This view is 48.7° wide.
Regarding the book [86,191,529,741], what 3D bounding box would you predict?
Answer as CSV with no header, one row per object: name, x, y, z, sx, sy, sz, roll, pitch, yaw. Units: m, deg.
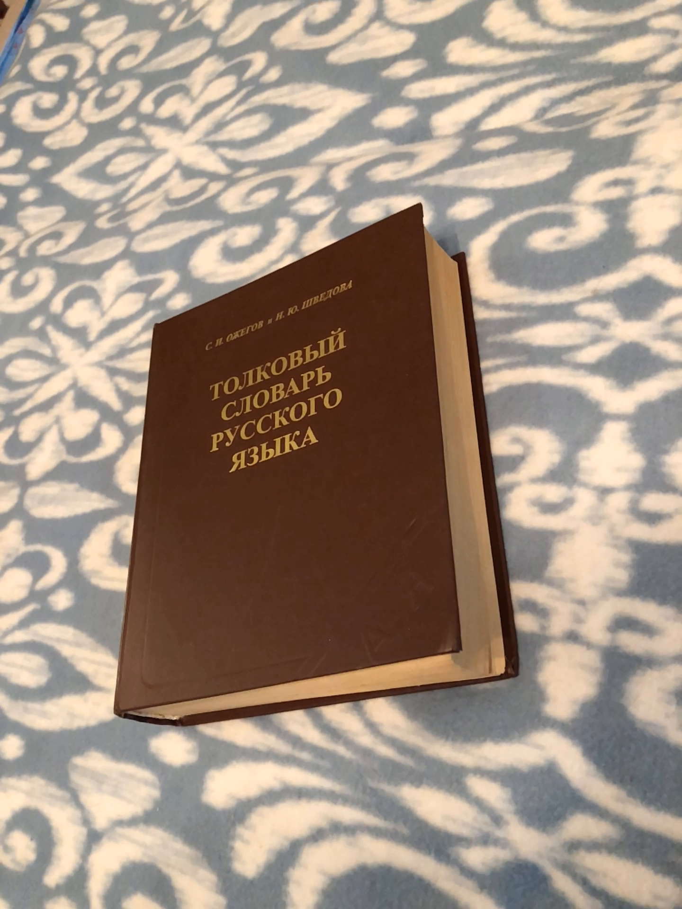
book,-0.026,0.010,0.440,0.220,0.067,0.271,-17,57,27
